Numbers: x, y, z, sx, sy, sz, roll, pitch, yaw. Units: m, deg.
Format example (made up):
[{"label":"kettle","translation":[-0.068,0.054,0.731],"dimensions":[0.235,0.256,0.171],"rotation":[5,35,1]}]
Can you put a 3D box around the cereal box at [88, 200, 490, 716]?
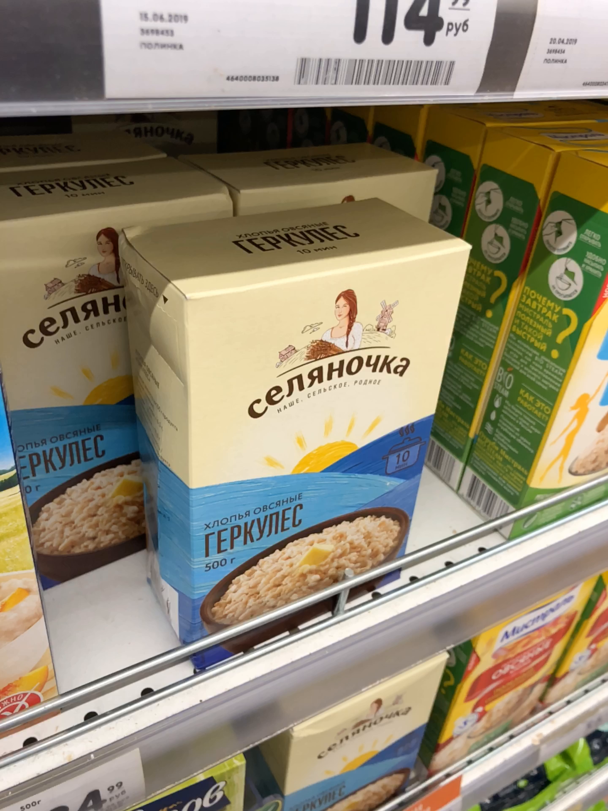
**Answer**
[{"label":"cereal box","translation":[-0.010,0.025,0.296],"dimensions":[0.130,0.199,0.060],"rotation":[-15,39,-27]}]
